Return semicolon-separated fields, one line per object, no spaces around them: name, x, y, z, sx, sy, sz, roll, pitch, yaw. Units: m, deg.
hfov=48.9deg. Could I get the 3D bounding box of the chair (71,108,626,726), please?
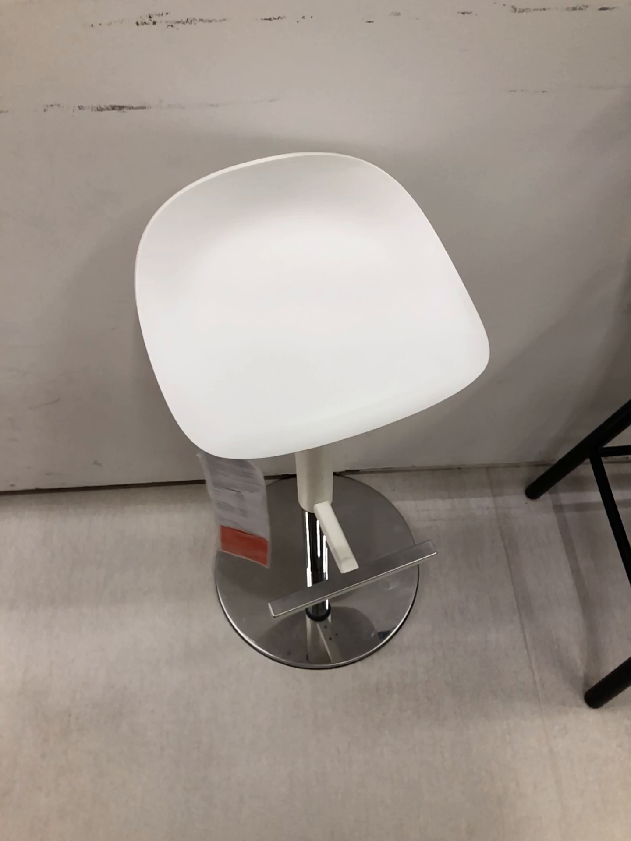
chair;0.003;0.051;1.066;0.440;0.746;0.512;-19;57;-12
